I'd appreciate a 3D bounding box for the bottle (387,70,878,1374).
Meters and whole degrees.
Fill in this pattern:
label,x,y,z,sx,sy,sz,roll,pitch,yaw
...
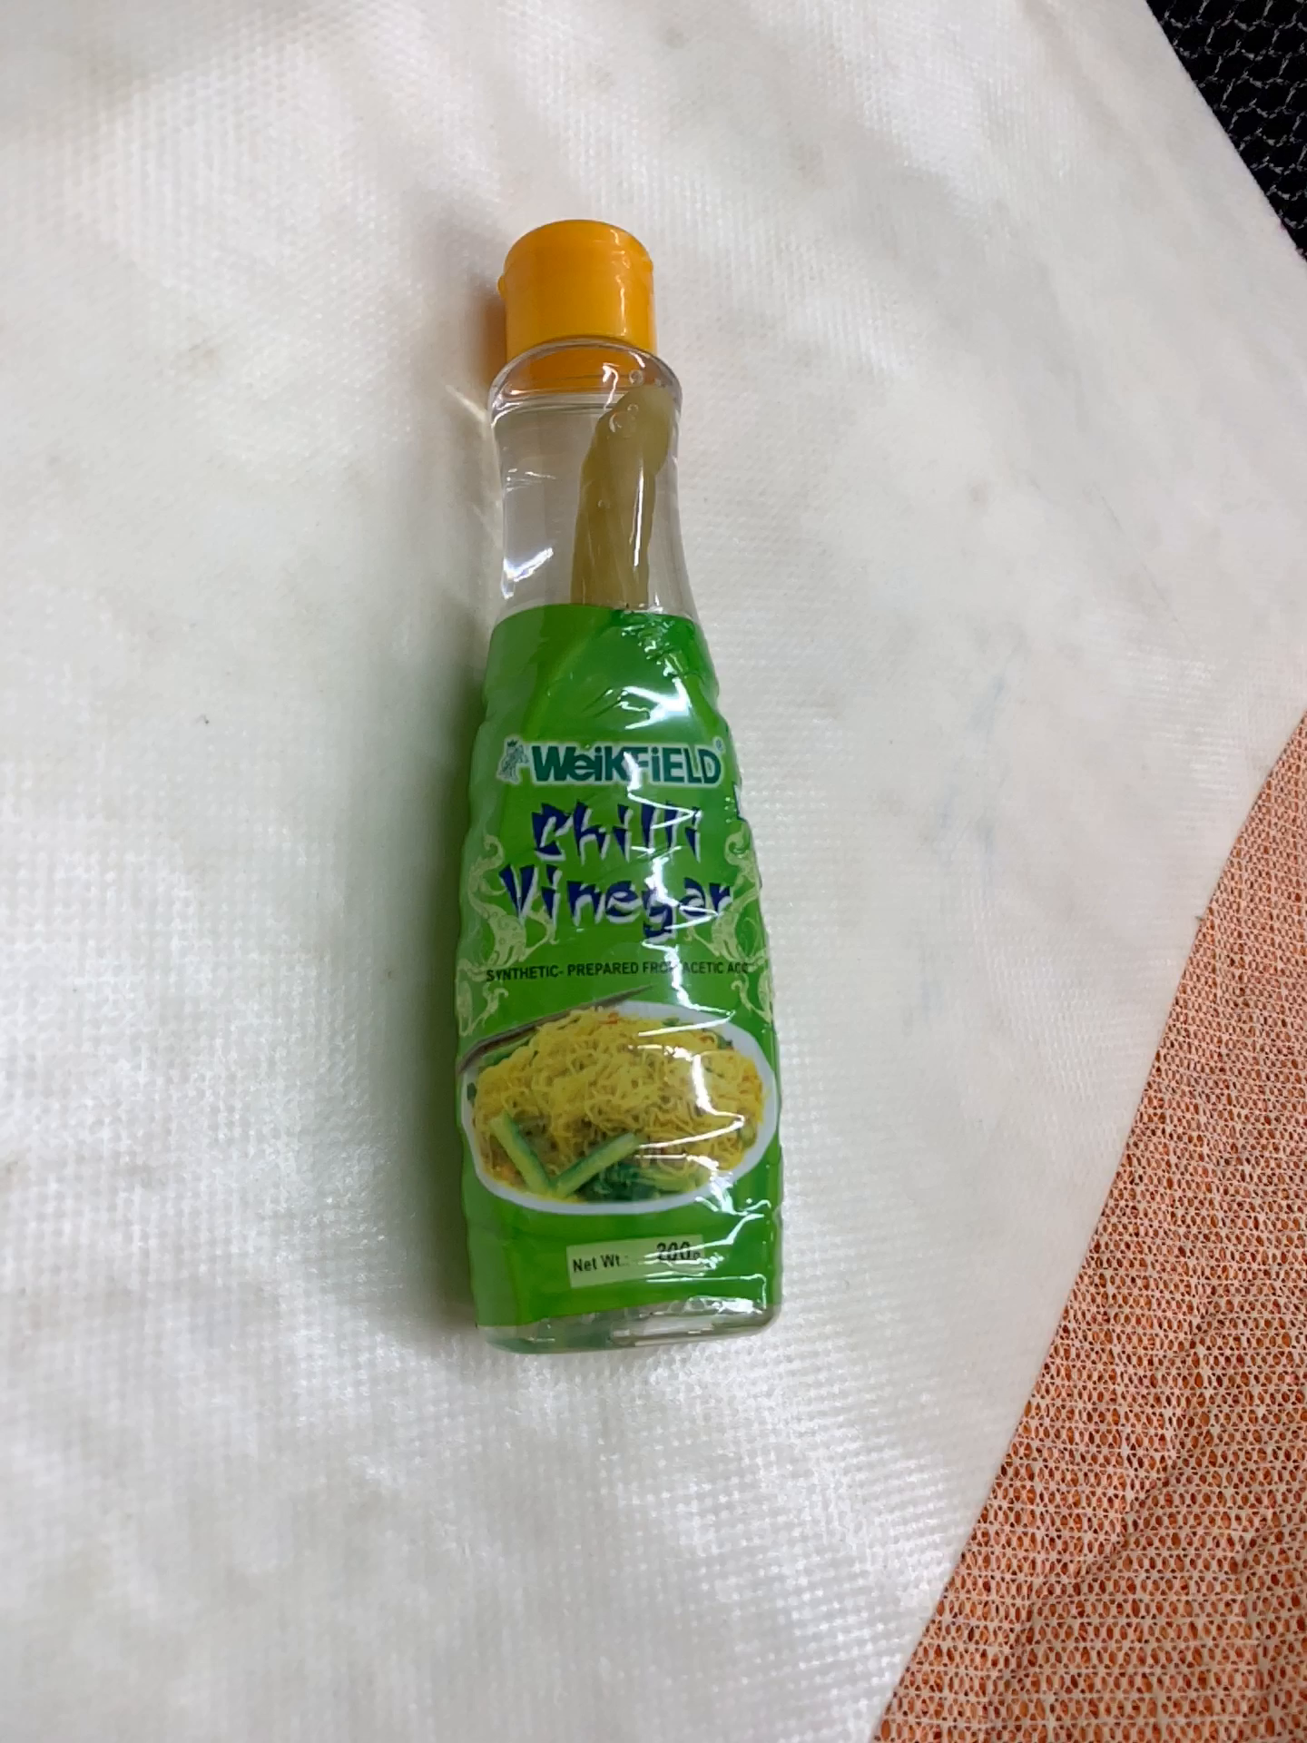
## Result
label,x,y,z,sx,sy,sz,roll,pitch,yaw
bottle,-0.007,-0.023,0.209,0.060,0.040,0.180,-2,84,-13
